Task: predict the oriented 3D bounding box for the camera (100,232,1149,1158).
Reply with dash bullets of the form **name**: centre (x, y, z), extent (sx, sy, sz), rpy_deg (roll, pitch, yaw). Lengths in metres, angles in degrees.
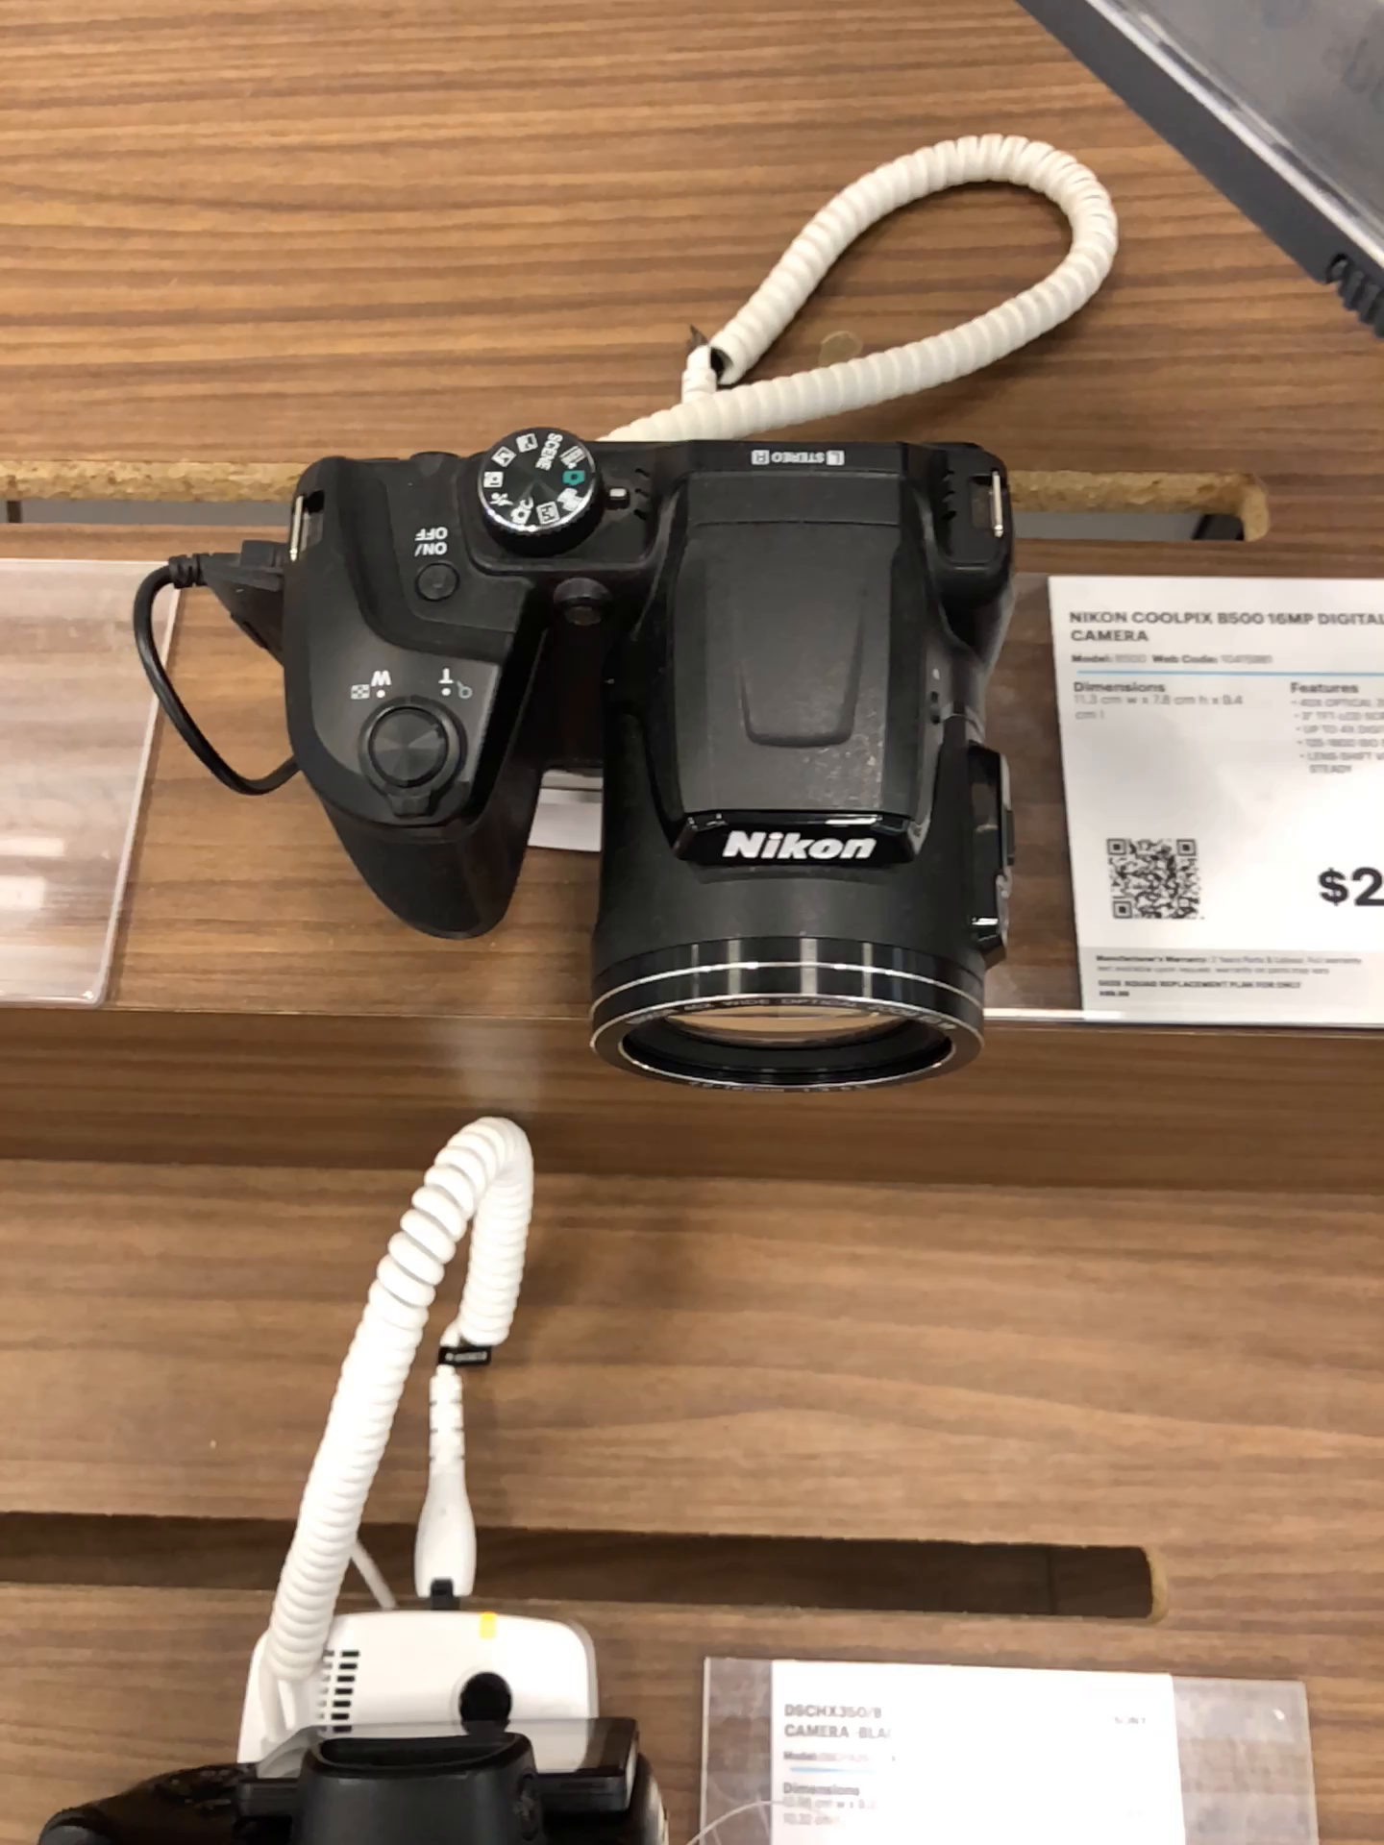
- **camera**: centre (-0.008, -0.035, 0.250), extent (0.130, 0.070, 0.130), rpy_deg (0, 67, 1)
